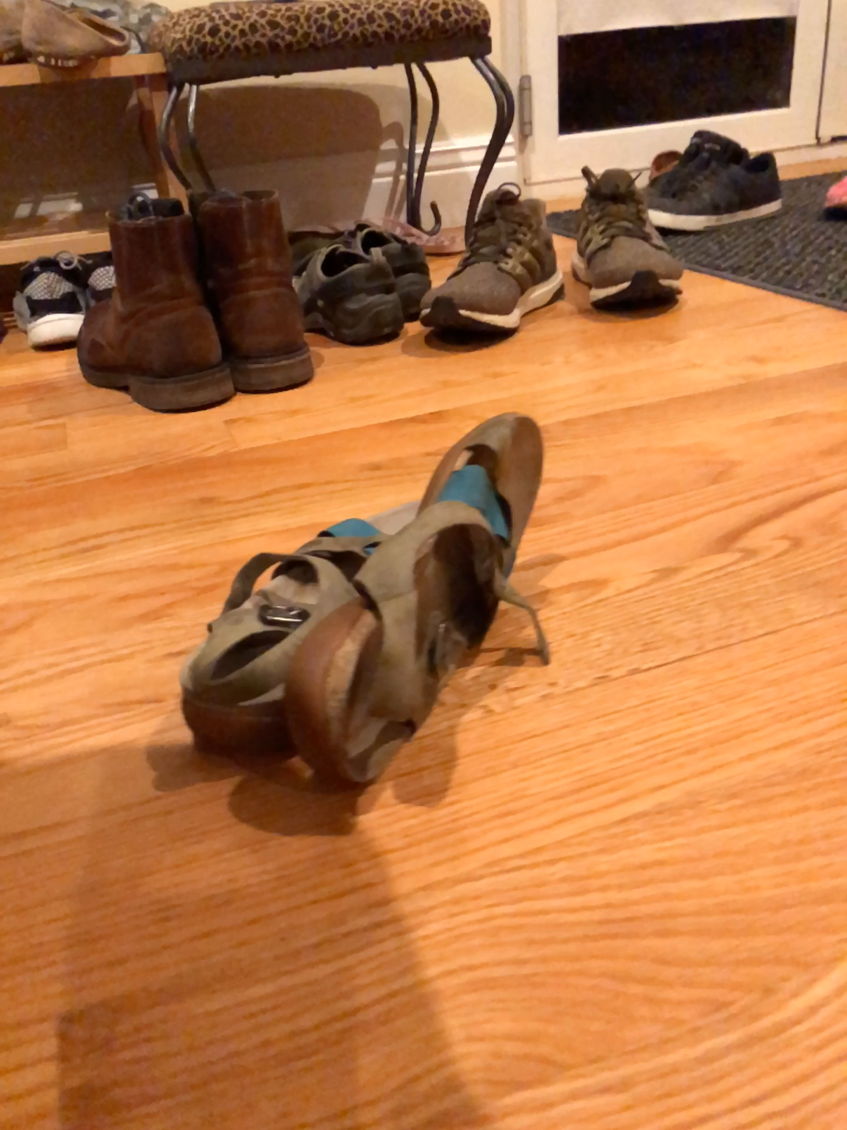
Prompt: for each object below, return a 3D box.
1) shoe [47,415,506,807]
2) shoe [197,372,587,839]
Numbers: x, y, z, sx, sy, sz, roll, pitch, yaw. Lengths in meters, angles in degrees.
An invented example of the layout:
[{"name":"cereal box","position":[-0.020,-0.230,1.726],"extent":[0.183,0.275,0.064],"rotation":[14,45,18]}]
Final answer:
[{"name":"shoe","position":[-0.054,0.003,0.477],"extent":[0.104,0.075,0.241],"rotation":[9,31,26]},{"name":"shoe","position":[0.007,-0.002,0.431],"extent":[0.065,0.104,0.239],"rotation":[9,31,26]}]
